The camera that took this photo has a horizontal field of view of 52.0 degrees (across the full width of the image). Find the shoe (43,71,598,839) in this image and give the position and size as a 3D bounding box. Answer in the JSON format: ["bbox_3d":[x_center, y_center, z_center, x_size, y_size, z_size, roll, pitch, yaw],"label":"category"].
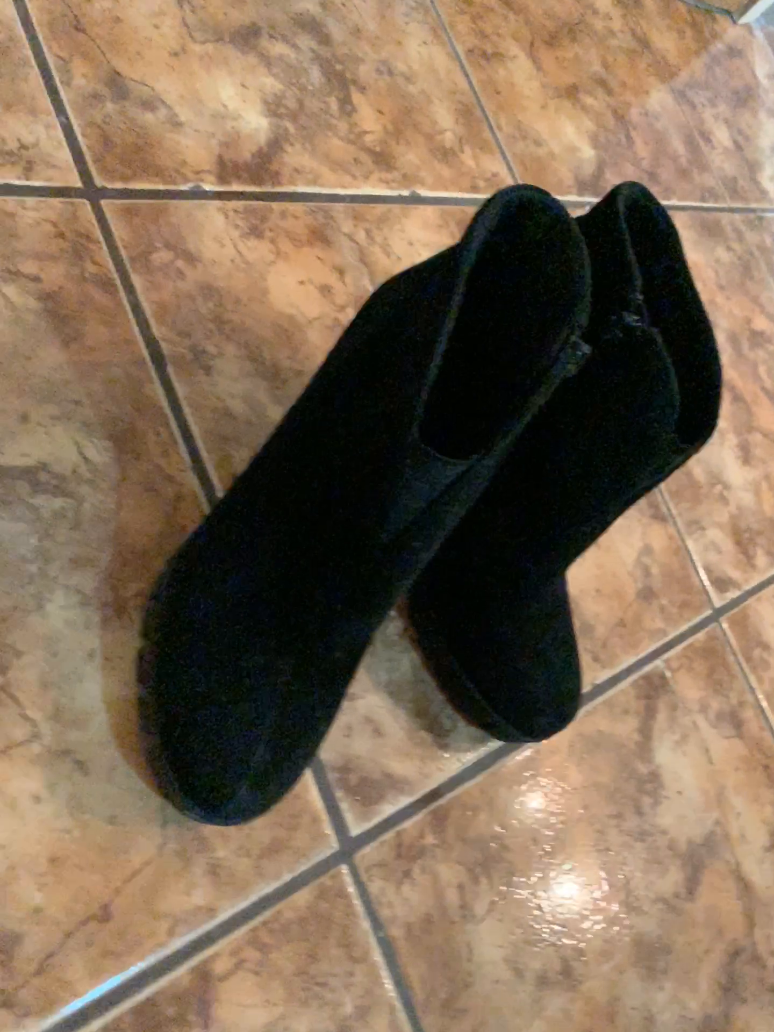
[{"bbox_3d":[-0.024,-0.009,0.310,0.094,0.180,0.230,26,57,-22],"label":"shoe"}]

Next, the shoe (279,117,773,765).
[{"bbox_3d":[0.065,-0.021,0.375,0.095,0.180,0.229,-14,77,-37],"label":"shoe"}]
